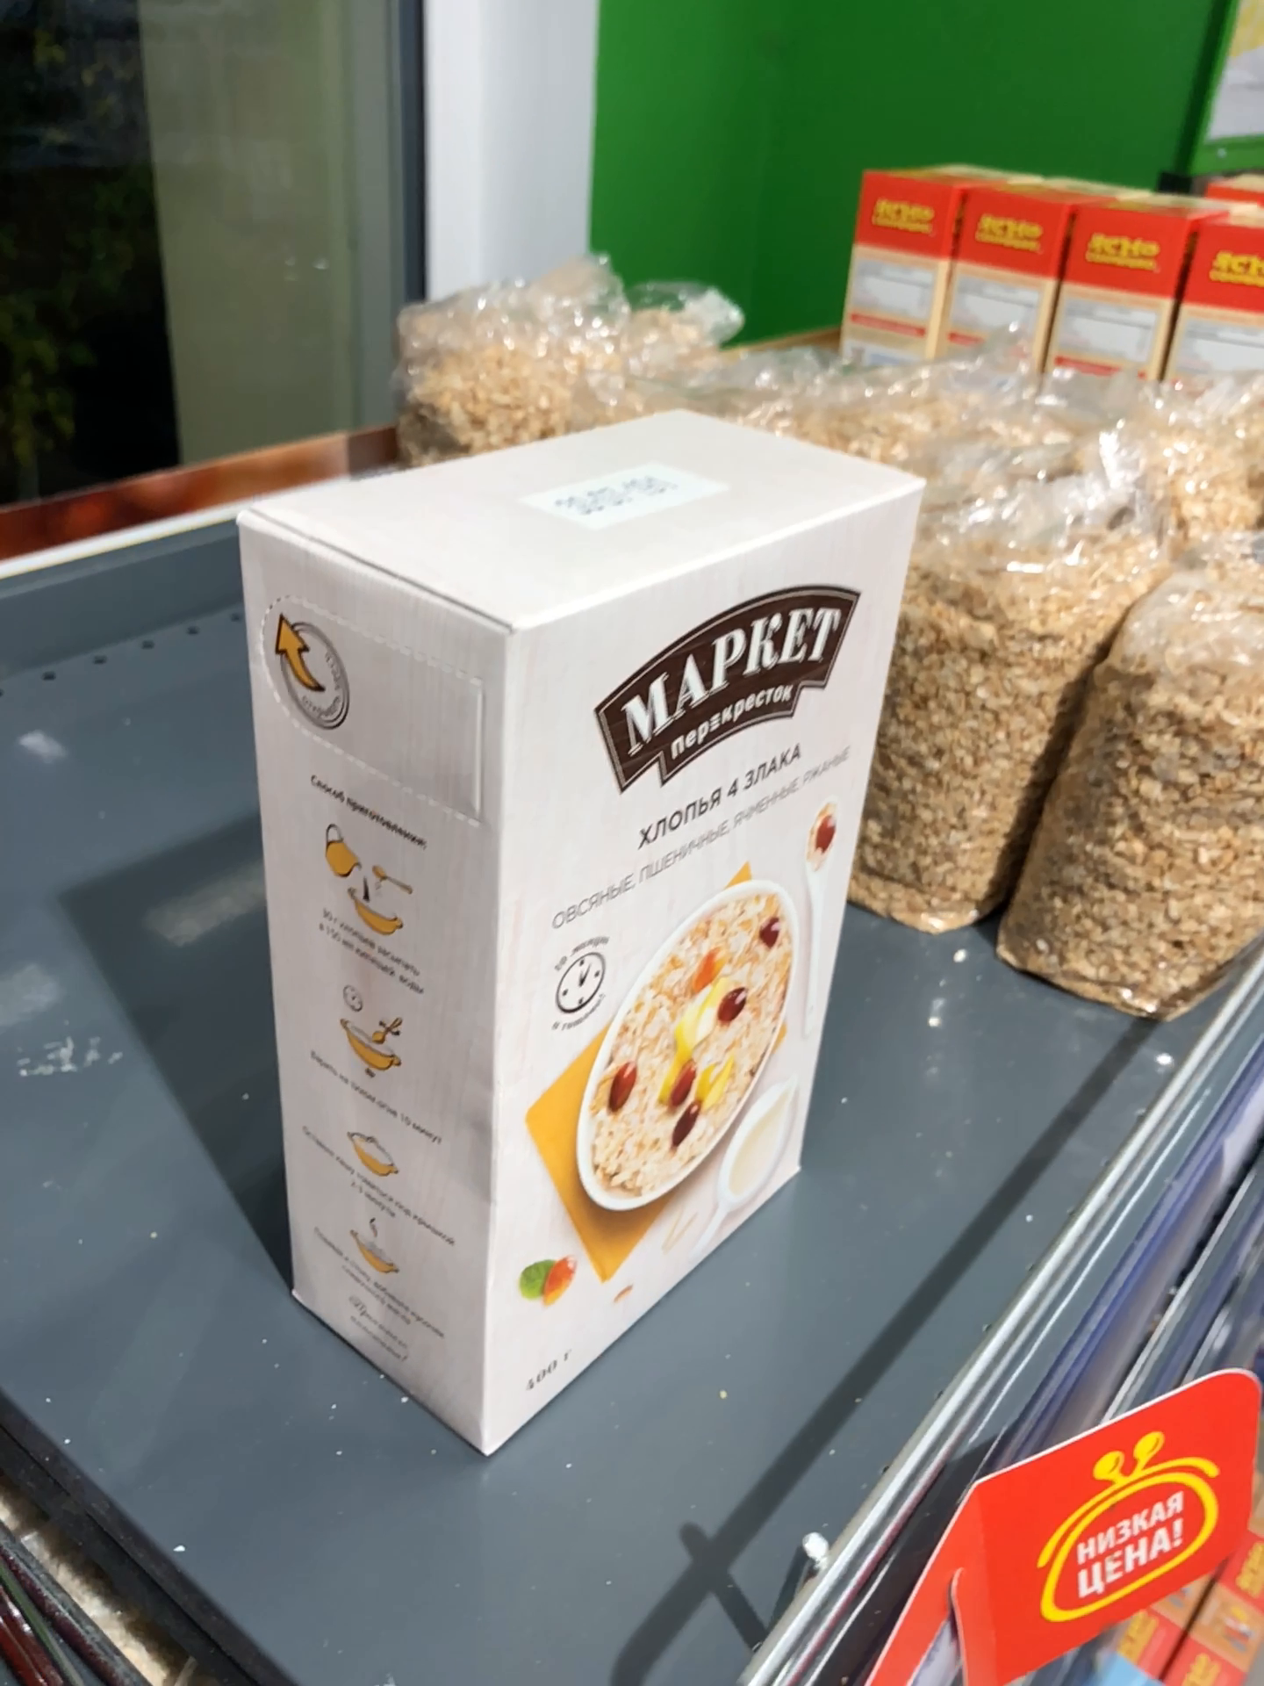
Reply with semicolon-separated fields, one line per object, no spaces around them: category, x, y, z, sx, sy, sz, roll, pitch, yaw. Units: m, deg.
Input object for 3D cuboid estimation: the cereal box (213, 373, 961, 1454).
cereal box;-0.008;0.010;0.308;0.070;0.189;0.130;26;36;32
